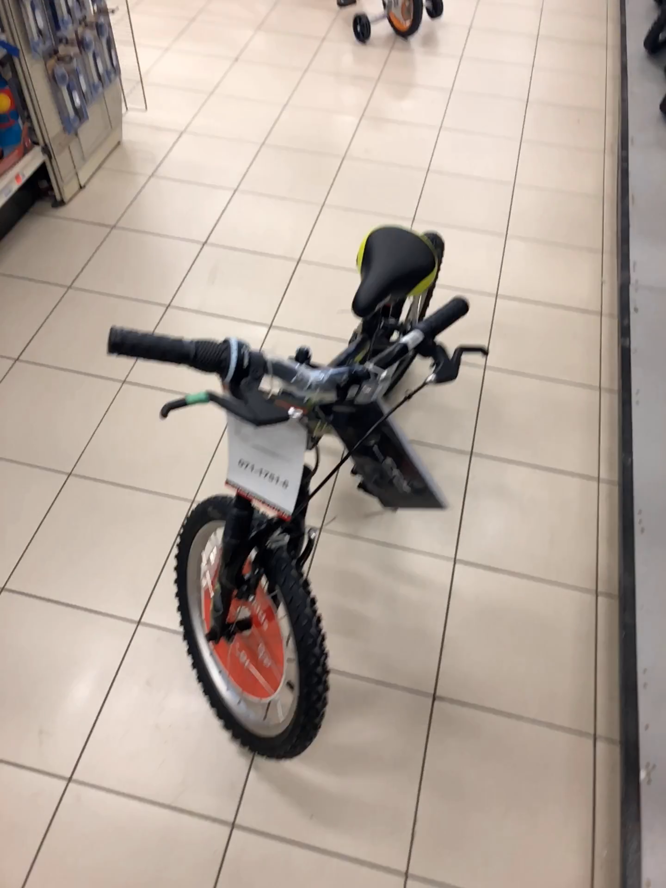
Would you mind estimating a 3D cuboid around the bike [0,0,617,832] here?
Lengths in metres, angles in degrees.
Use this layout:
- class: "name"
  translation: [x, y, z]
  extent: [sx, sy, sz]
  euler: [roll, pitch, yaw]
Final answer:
- class: "bike"
  translation: [0.089, -0.110, 1.330]
  extent: [0.549, 0.860, 1.200]
  euler: [13, 52, 8]
